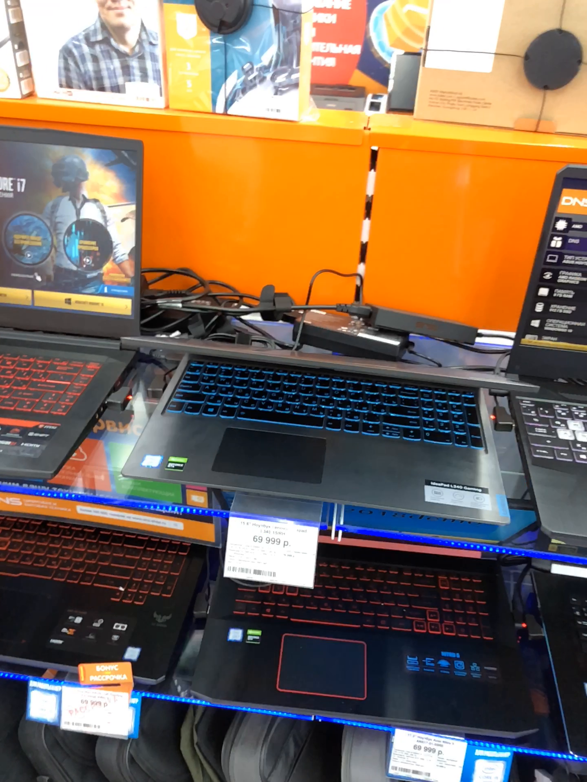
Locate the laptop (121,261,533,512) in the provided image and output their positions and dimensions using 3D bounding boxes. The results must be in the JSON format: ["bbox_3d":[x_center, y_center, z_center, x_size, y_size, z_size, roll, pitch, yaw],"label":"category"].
[{"bbox_3d":[0.037,-0.022,0.675,0.347,0.117,0.242,6,33,6],"label":"laptop"}]

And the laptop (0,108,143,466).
[{"bbox_3d":[-0.388,-0.137,0.698,0.348,0.228,0.327,7,32,3],"label":"laptop"}]

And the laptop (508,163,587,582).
[{"bbox_3d":[0.437,-0.039,0.610,0.383,0.250,0.278,7,32,6],"label":"laptop"}]
